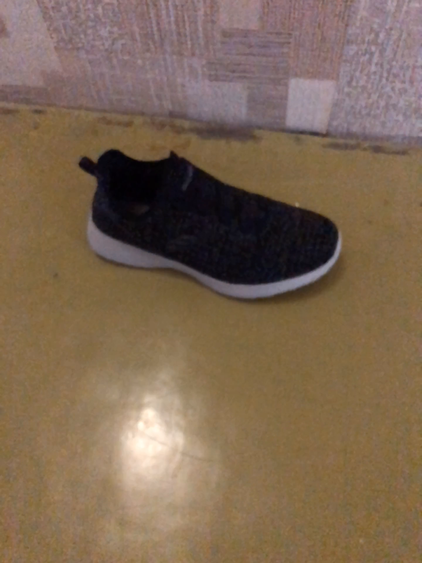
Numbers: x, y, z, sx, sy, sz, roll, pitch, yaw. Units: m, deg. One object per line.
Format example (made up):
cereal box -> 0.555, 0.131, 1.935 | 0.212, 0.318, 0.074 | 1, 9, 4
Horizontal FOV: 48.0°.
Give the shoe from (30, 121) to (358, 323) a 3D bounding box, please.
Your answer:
shoe -> -0.014, -0.070, 0.548 | 0.320, 0.120, 0.130 | 12, 61, 10
